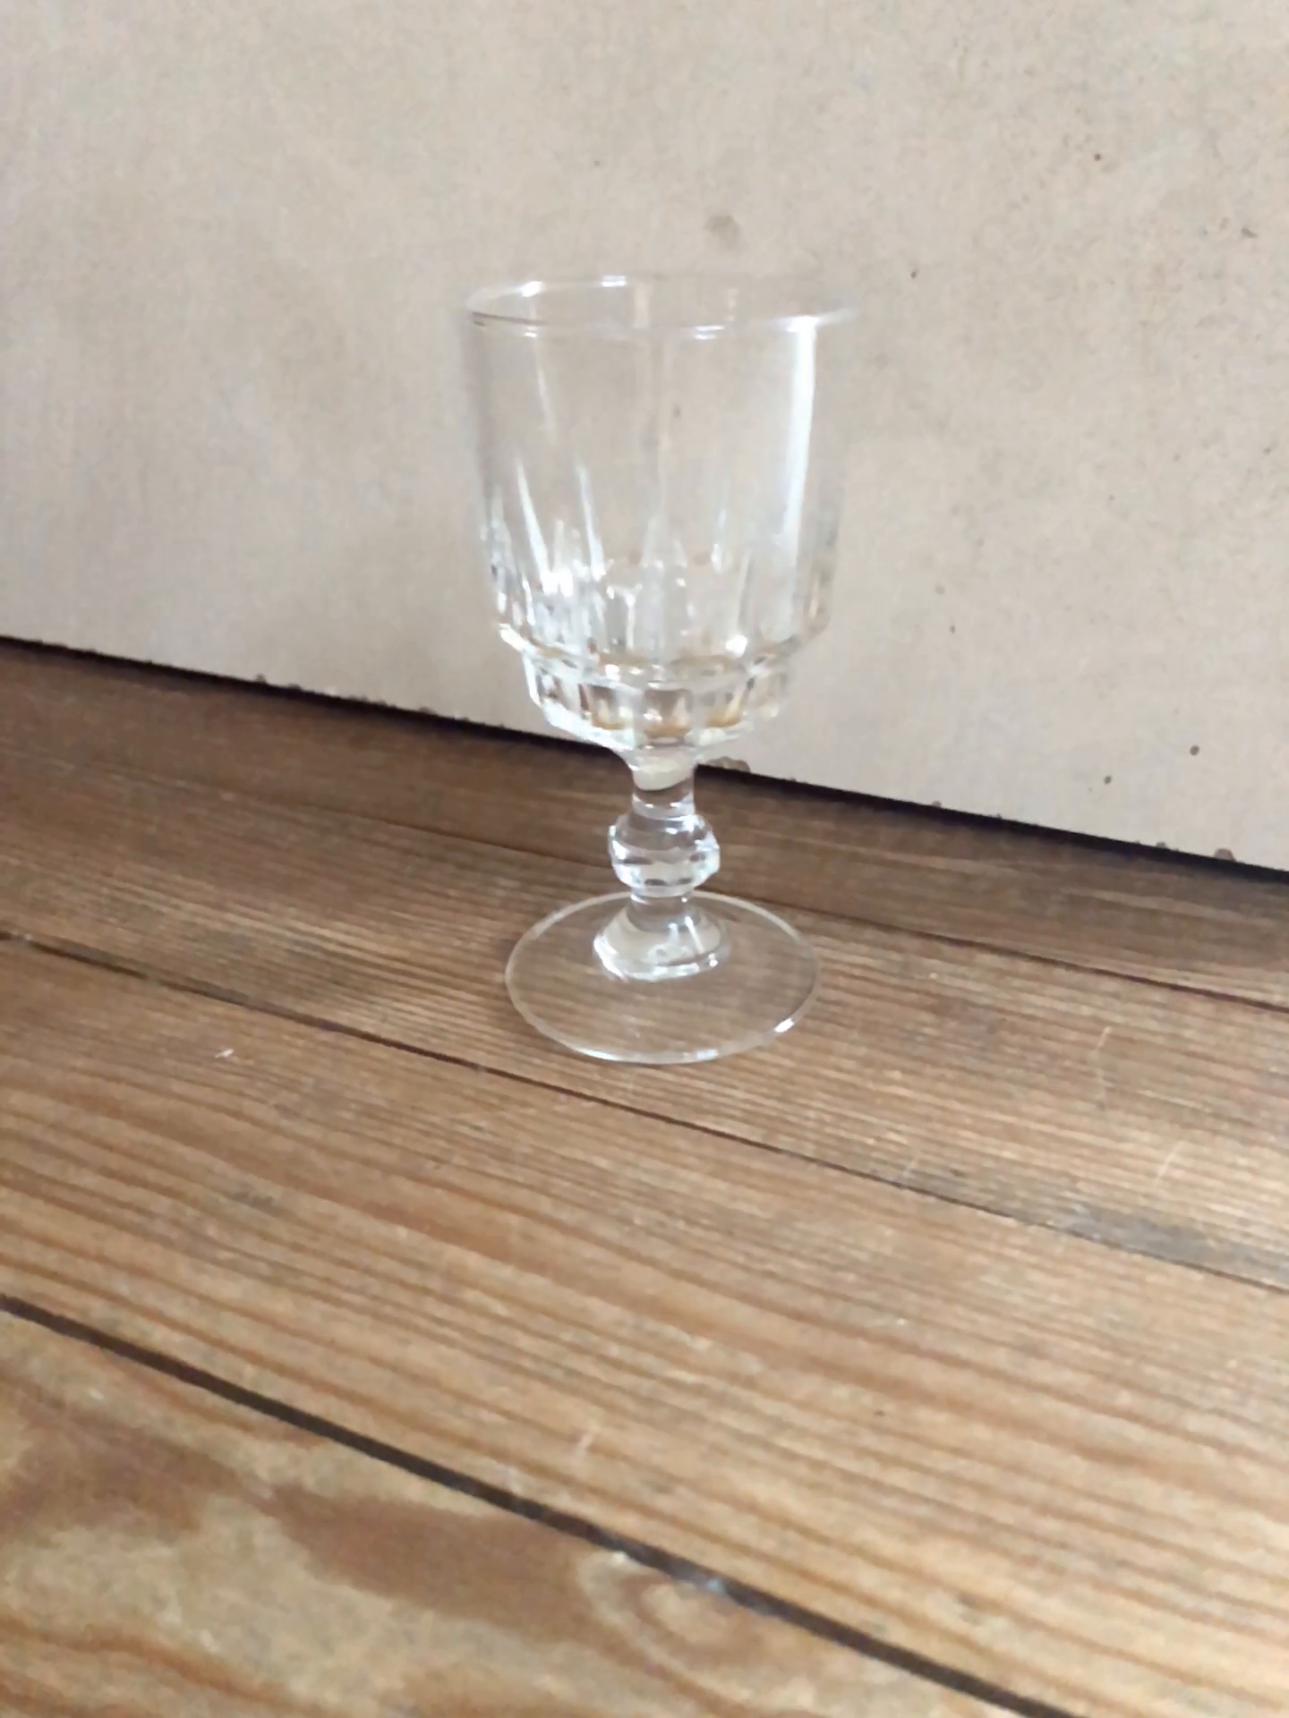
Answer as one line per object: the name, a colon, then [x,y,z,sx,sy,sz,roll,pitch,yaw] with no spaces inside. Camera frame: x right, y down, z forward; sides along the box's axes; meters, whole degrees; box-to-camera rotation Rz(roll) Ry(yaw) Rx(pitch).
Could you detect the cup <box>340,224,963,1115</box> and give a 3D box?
cup: [0.005,-0.034,0.234,0.070,0.119,0.070,0,28,0]
